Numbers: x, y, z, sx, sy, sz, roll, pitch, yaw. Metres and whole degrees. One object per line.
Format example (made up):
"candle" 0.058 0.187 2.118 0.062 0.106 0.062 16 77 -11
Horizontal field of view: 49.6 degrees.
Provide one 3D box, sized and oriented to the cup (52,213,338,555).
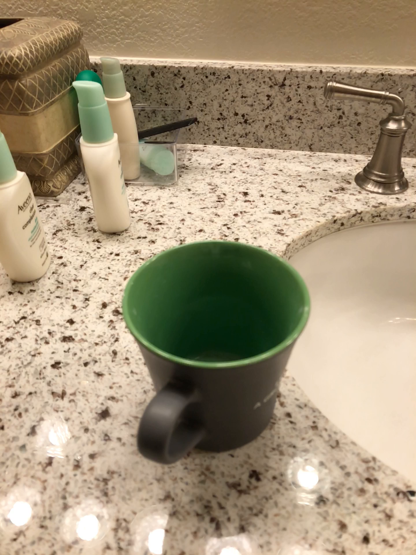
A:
"cup" 0.007 0.054 0.257 0.100 0.109 0.141 11 41 15
